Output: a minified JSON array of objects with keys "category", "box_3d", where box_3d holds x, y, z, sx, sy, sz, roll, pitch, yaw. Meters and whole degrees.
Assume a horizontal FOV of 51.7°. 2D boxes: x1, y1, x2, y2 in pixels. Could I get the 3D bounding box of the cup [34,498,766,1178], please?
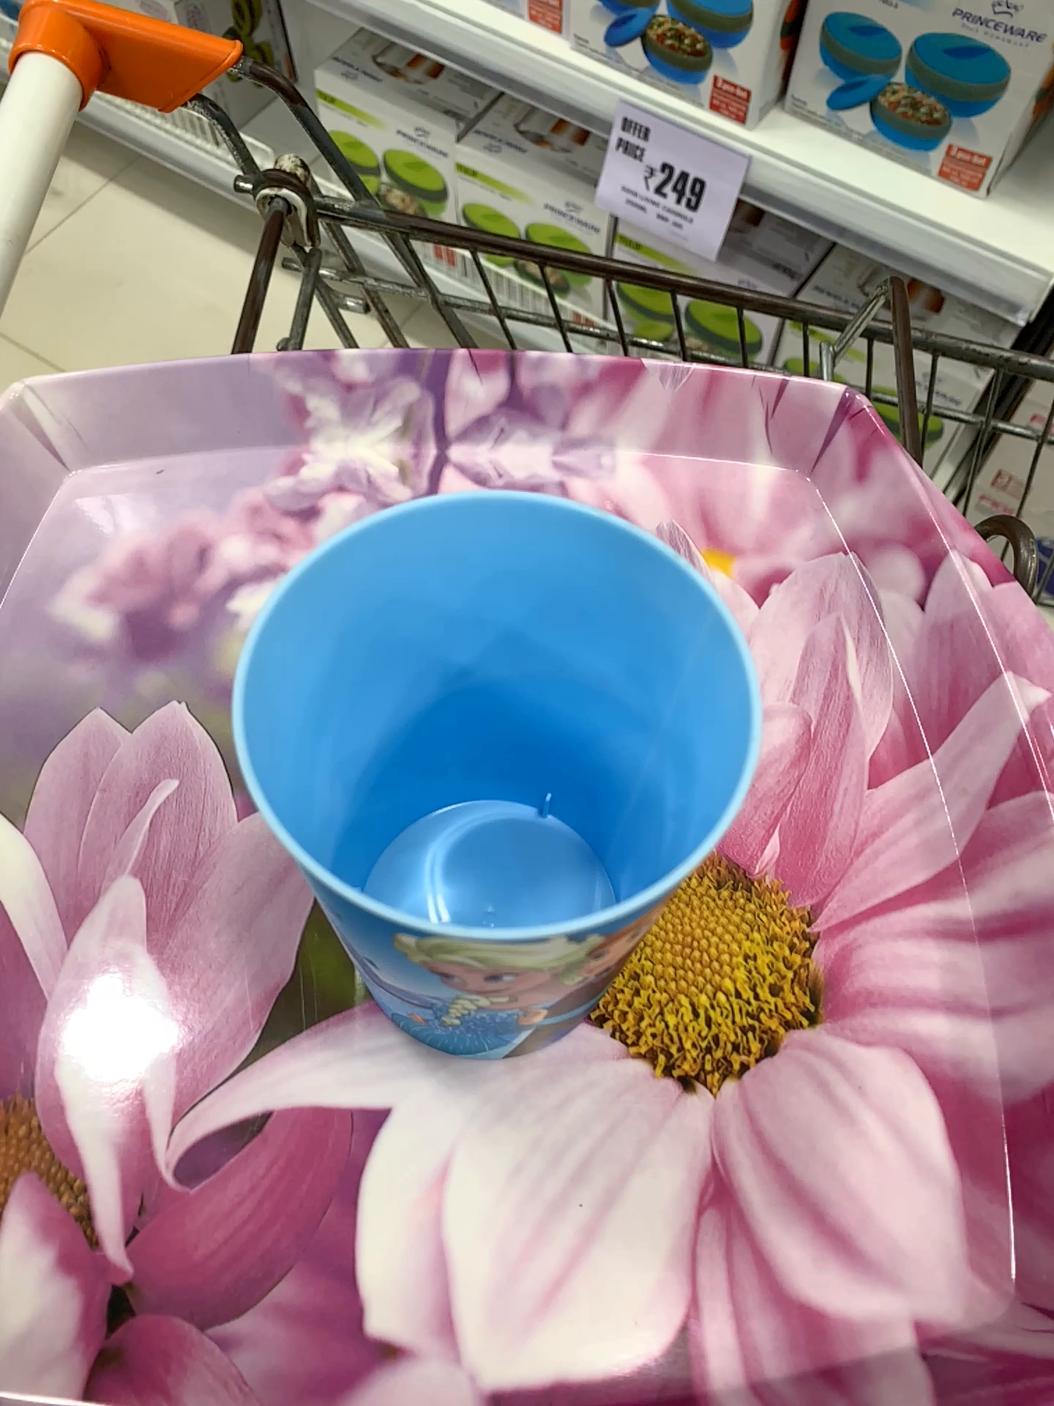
[{"category":"cup","box_3d":[-0.015,0.033,0.194,0.080,0.109,0.060,20,63,11]}]
